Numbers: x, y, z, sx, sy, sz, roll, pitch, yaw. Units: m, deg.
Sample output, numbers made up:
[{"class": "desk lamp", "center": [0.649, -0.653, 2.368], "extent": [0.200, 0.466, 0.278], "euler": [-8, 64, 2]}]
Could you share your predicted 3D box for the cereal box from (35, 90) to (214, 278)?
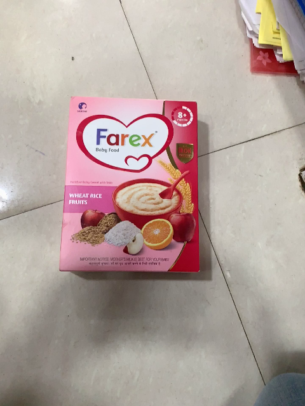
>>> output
[{"class": "cereal box", "center": [-0.026, -0.018, 0.340], "extent": [0.170, 0.050, 0.190], "euler": [1, 79, -4]}]
